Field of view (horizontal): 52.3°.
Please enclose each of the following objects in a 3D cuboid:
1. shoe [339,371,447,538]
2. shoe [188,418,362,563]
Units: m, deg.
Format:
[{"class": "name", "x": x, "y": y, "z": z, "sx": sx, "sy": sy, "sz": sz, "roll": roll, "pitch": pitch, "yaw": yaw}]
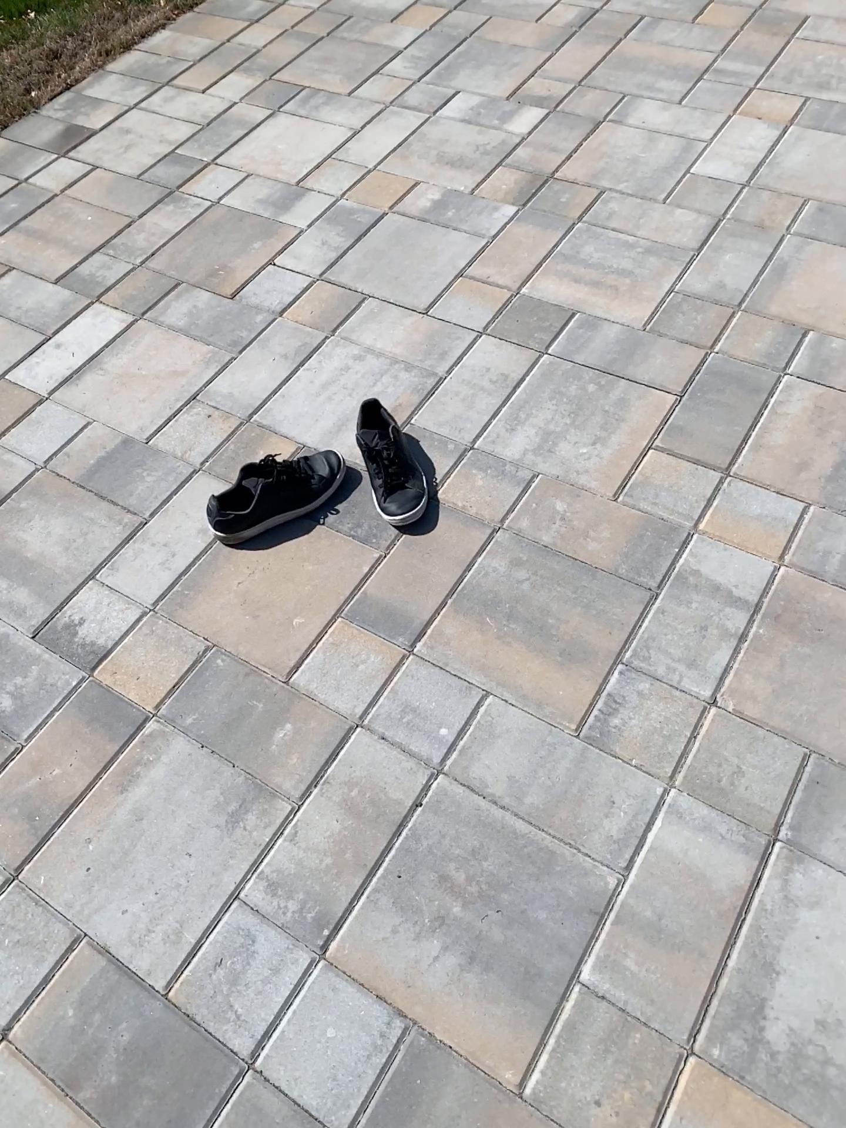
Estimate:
[{"class": "shoe", "x": -0.054, "y": -0.194, "z": 1.486, "sx": 0.110, "sy": 0.100, "sz": 0.281, "roll": -16, "pitch": 53, "yaw": -5}, {"class": "shoe", "x": -0.248, "y": -0.126, "z": 1.468, "sx": 0.250, "sy": 0.110, "sz": 0.110, "roll": -27, "pitch": 55, "yaw": -13}]
